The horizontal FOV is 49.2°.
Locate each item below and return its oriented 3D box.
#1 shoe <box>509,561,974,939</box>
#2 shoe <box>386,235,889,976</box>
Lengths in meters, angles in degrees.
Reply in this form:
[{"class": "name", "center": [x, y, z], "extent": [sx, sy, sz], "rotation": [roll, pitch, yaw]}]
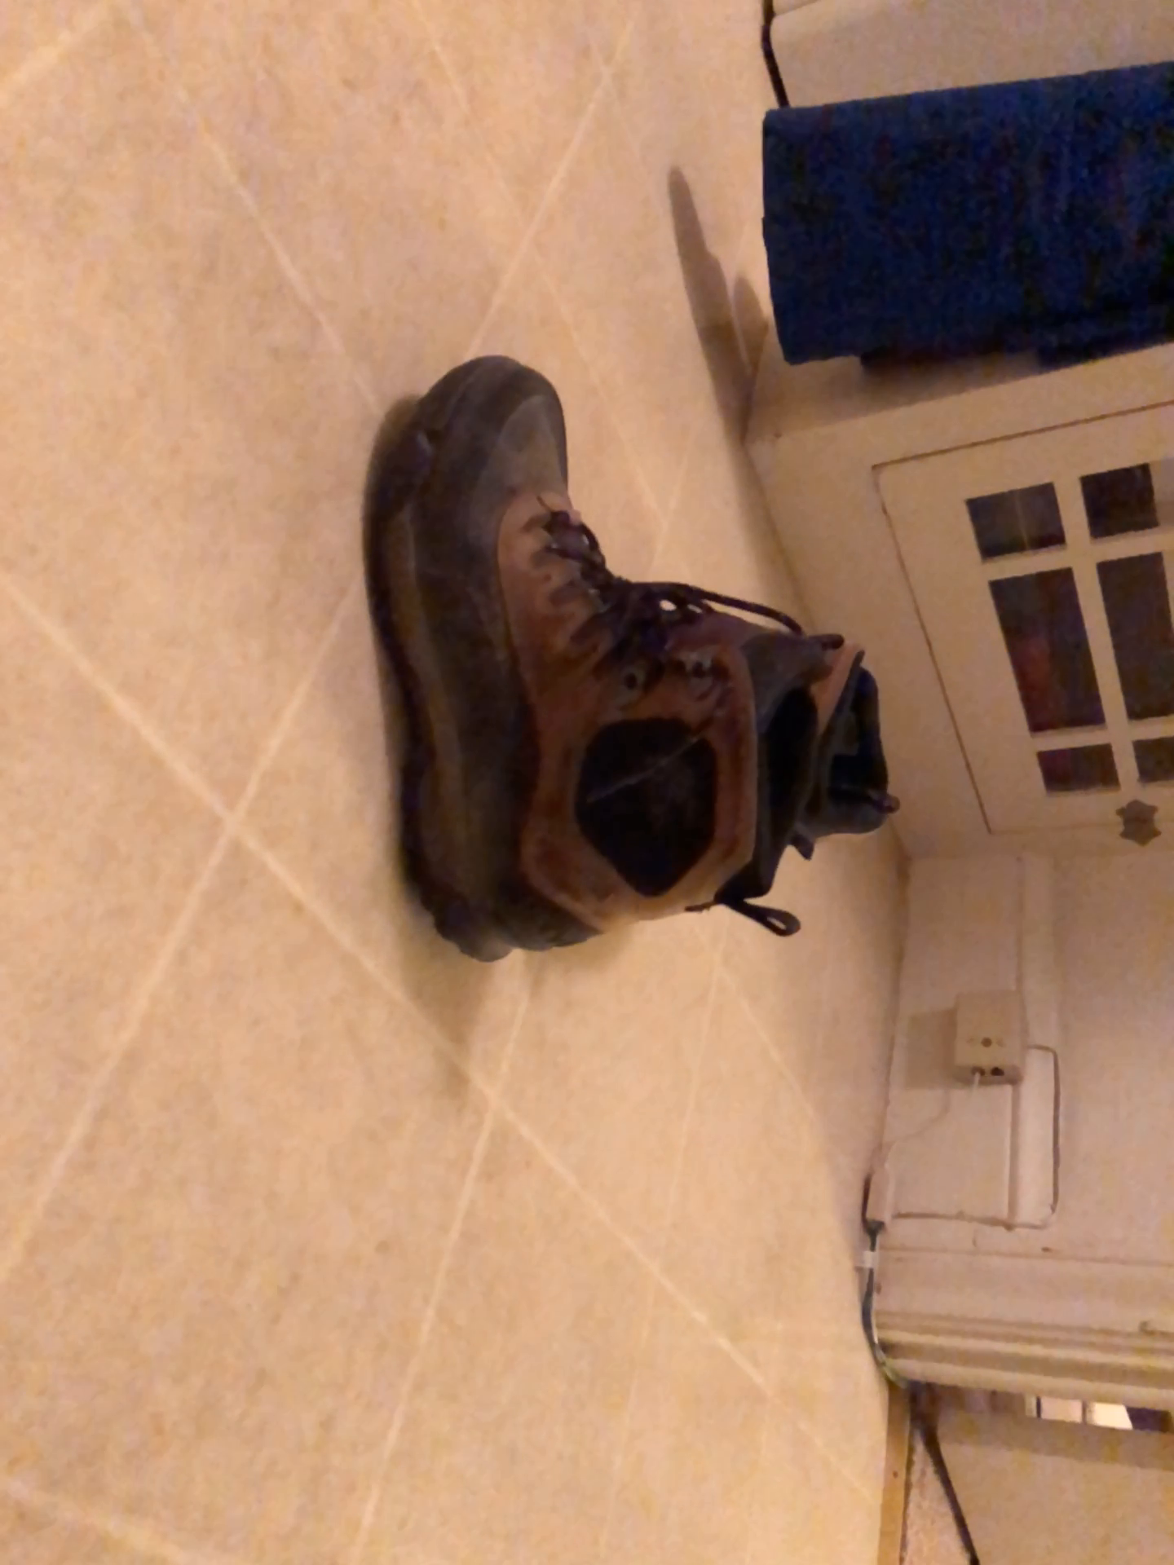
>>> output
[{"class": "shoe", "center": [0.112, -0.029, 0.780], "extent": [0.294, 0.185, 0.113], "rotation": [-45, 124, -58]}, {"class": "shoe", "center": [0.024, -0.067, 0.615], "extent": [0.122, 0.185, 0.299], "rotation": [6, 79, -63]}]
